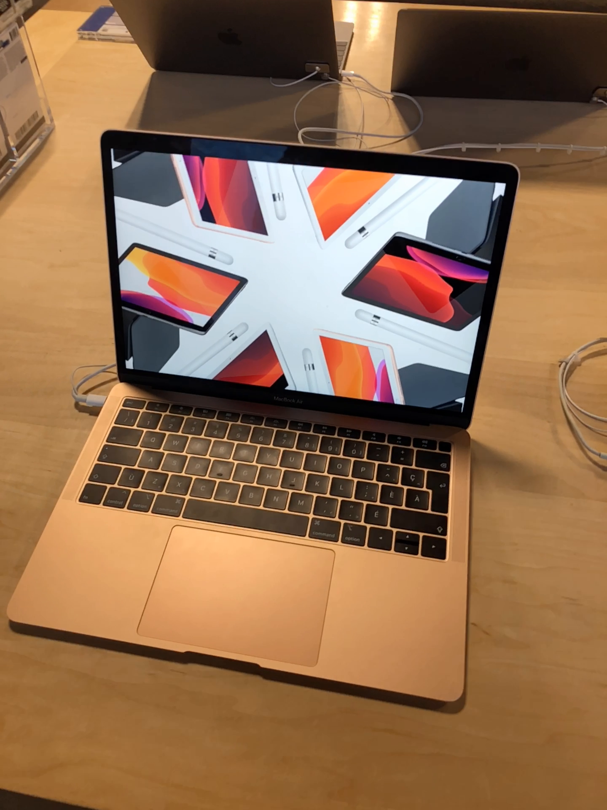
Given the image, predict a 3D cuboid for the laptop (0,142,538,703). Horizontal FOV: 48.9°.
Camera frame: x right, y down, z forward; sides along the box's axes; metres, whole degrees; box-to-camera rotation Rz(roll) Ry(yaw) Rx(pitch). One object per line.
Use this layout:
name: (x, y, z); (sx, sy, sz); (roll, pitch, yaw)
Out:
laptop: (-0.023, -0.007, 0.441); (0.291, 0.183, 0.284); (8, 49, 8)
